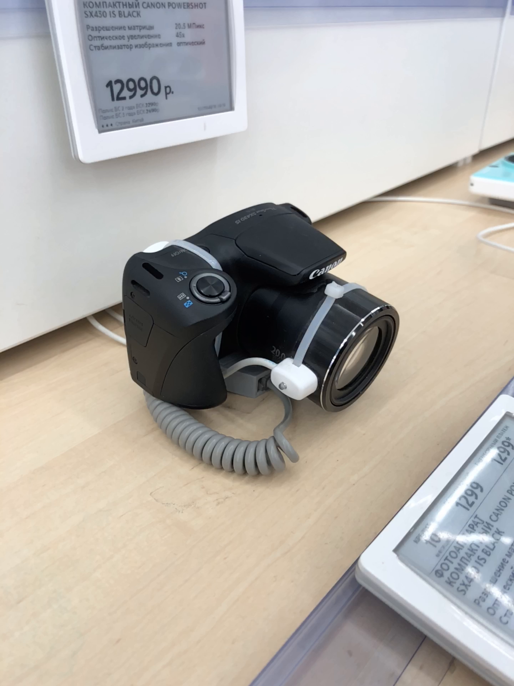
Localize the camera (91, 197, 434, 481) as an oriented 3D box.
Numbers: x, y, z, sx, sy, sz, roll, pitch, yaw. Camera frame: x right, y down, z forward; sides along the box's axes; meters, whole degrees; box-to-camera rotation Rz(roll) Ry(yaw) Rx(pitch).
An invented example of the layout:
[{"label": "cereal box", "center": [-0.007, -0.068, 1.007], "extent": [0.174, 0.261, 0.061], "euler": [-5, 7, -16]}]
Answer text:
[{"label": "camera", "center": [0.007, -0.014, 0.255], "extent": [0.093, 0.062, 0.117], "euler": [20, 35, 33]}]
